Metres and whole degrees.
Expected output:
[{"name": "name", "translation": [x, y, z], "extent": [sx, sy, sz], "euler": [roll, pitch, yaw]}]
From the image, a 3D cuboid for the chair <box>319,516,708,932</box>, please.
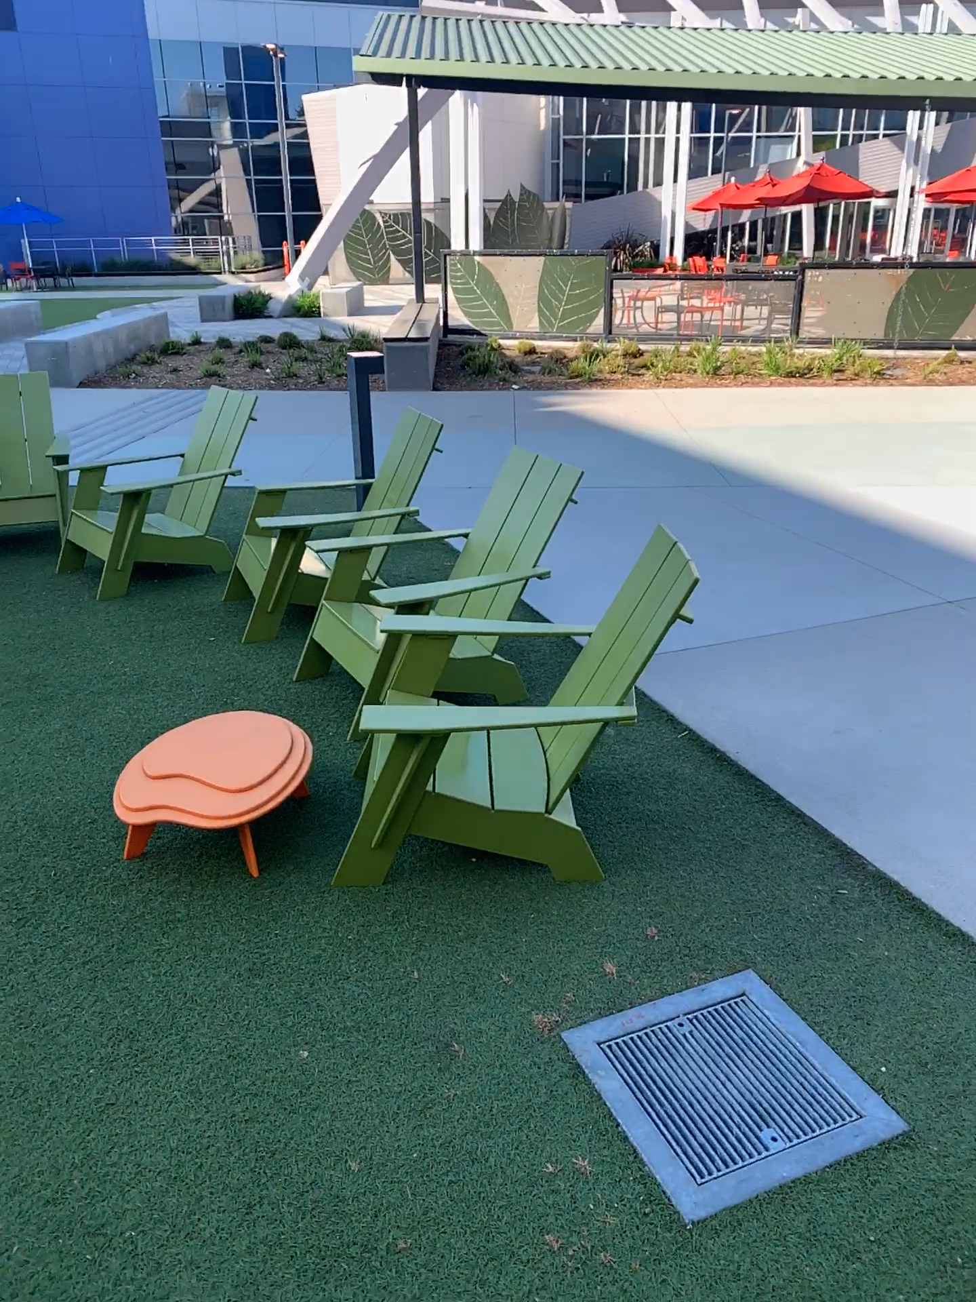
[{"name": "chair", "translation": [0.079, 0.155, 2.662], "extent": [0.850, 0.856, 0.713], "euler": [1, 23, 4]}]
